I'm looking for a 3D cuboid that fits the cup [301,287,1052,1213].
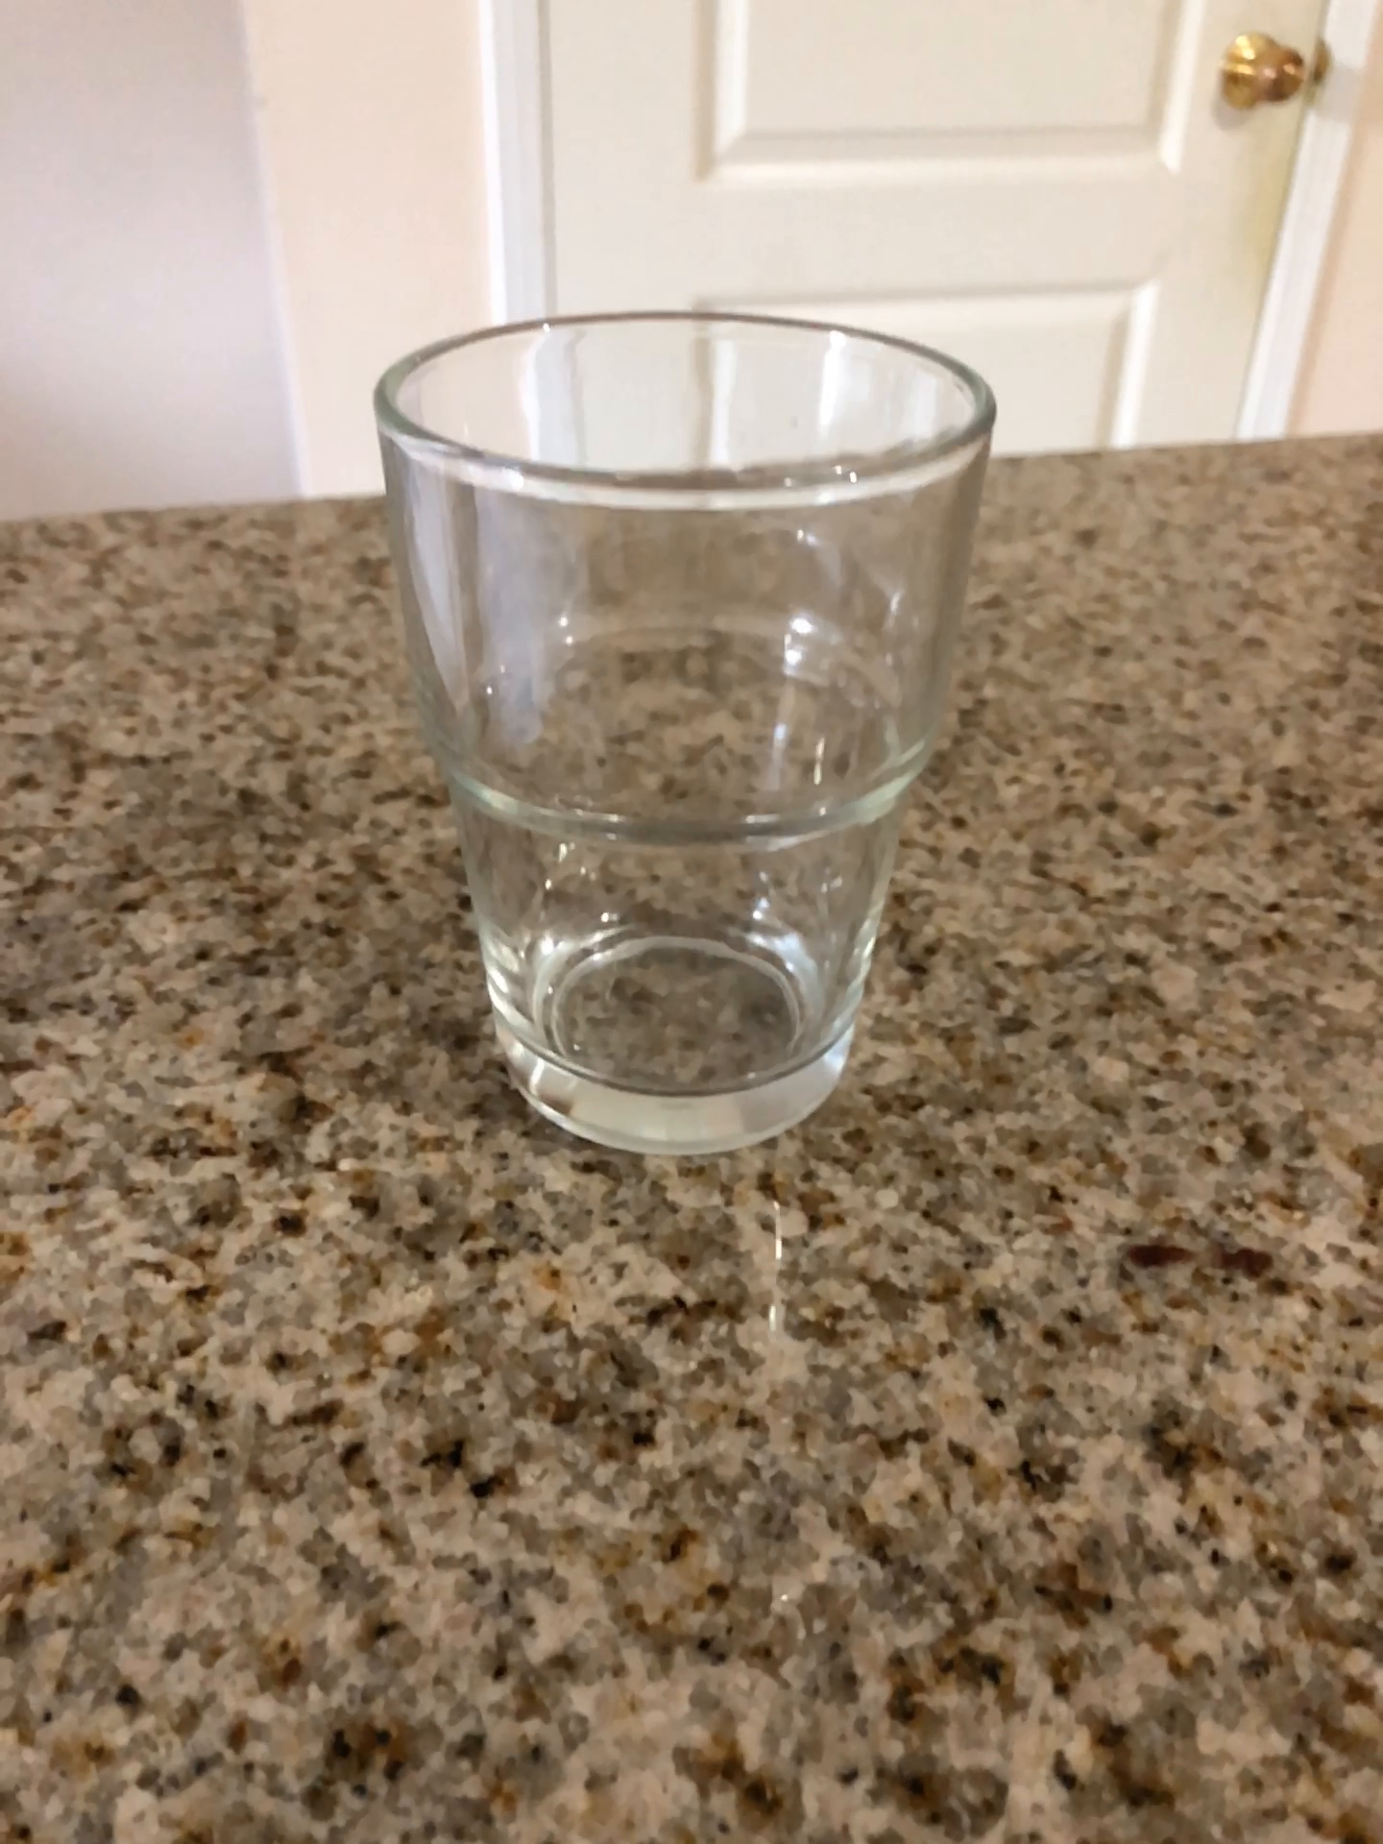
[{"bbox_3d":[0.000,-0.029,0.224,0.070,0.099,0.070,1,33,-1],"label":"cup"}]
